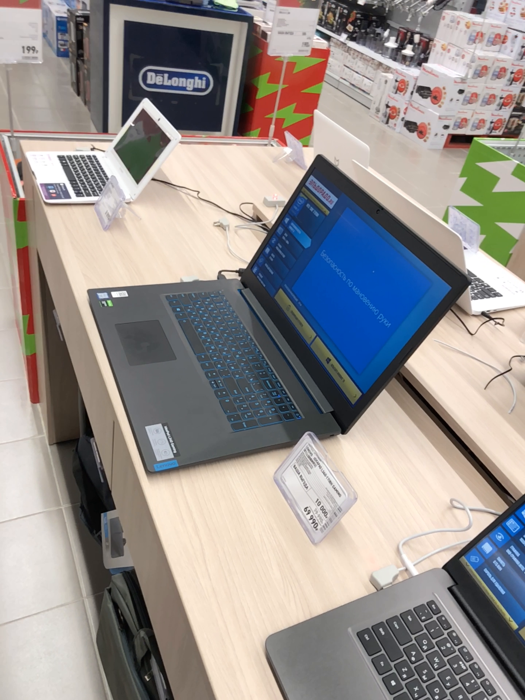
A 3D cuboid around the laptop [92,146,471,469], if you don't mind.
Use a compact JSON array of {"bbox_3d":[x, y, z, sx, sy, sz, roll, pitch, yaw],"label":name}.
[{"bbox_3d":[-0.015,-0.097,0.836,0.381,0.242,0.396,-7,41,-24],"label":"laptop"}]
